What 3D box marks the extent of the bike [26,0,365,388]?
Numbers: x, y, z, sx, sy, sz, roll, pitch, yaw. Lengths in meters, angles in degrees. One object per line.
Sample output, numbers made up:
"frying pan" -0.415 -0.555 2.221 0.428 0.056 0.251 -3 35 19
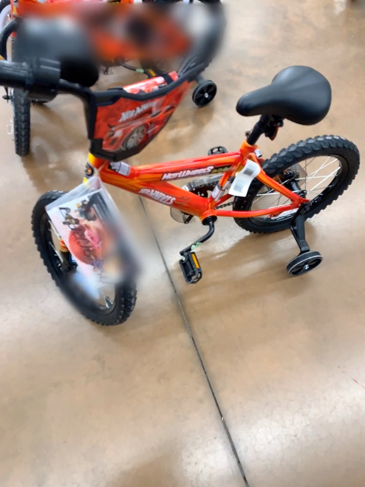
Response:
"bike" 0.125 -0.156 0.966 0.740 0.825 0.511 -28 63 -10
